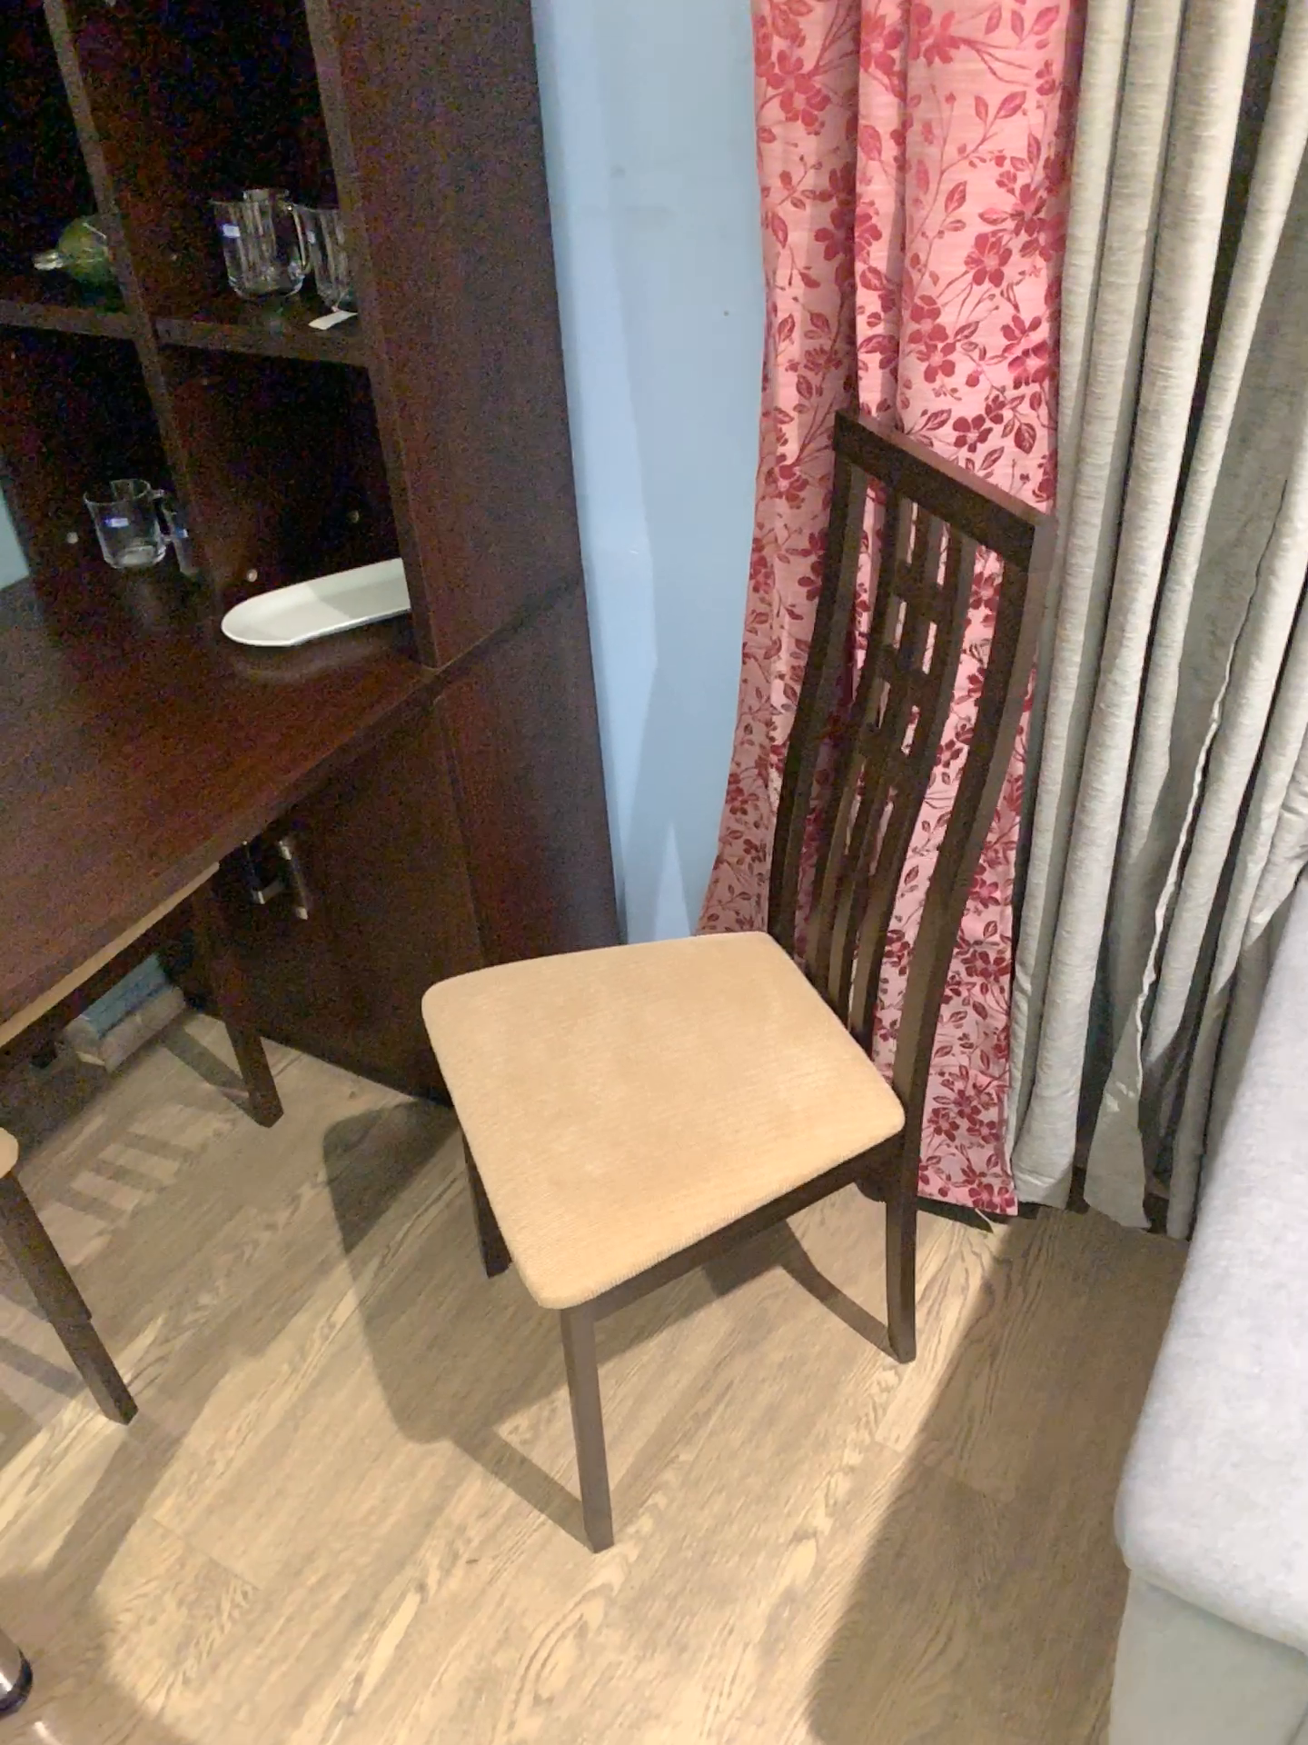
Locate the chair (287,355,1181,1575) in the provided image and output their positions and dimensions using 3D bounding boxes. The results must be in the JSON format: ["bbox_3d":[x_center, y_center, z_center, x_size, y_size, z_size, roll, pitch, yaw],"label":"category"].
[{"bbox_3d":[0.048,0.097,1.317,0.510,0.976,0.532,-17,38,-17],"label":"chair"}]
